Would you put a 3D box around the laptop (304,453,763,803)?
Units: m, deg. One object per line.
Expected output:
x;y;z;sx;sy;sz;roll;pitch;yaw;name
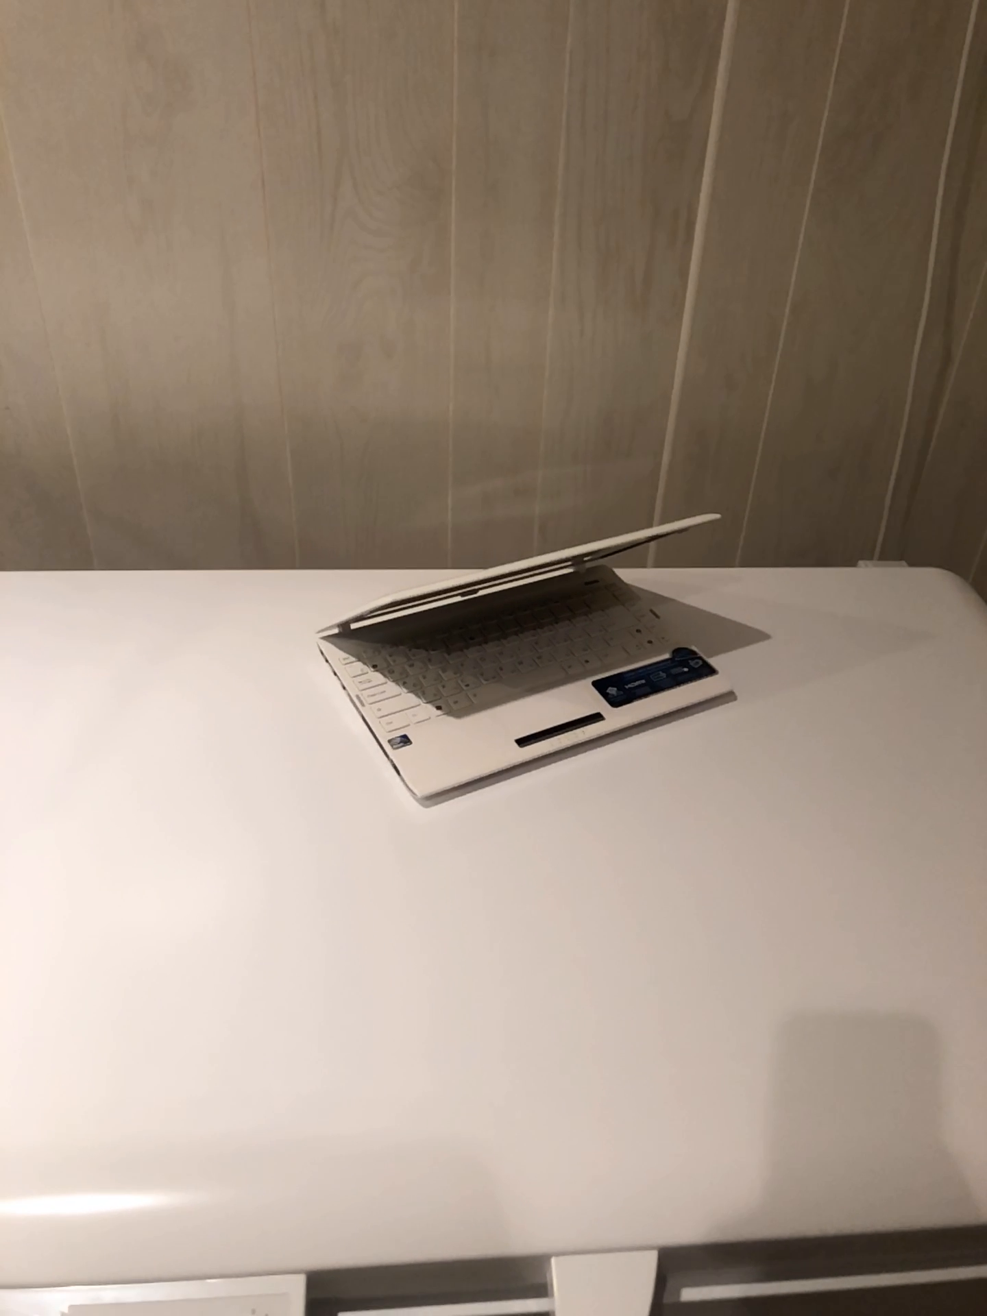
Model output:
0.029;-0.039;0.885;0.299;0.115;0.198;-17;45;-25;laptop
